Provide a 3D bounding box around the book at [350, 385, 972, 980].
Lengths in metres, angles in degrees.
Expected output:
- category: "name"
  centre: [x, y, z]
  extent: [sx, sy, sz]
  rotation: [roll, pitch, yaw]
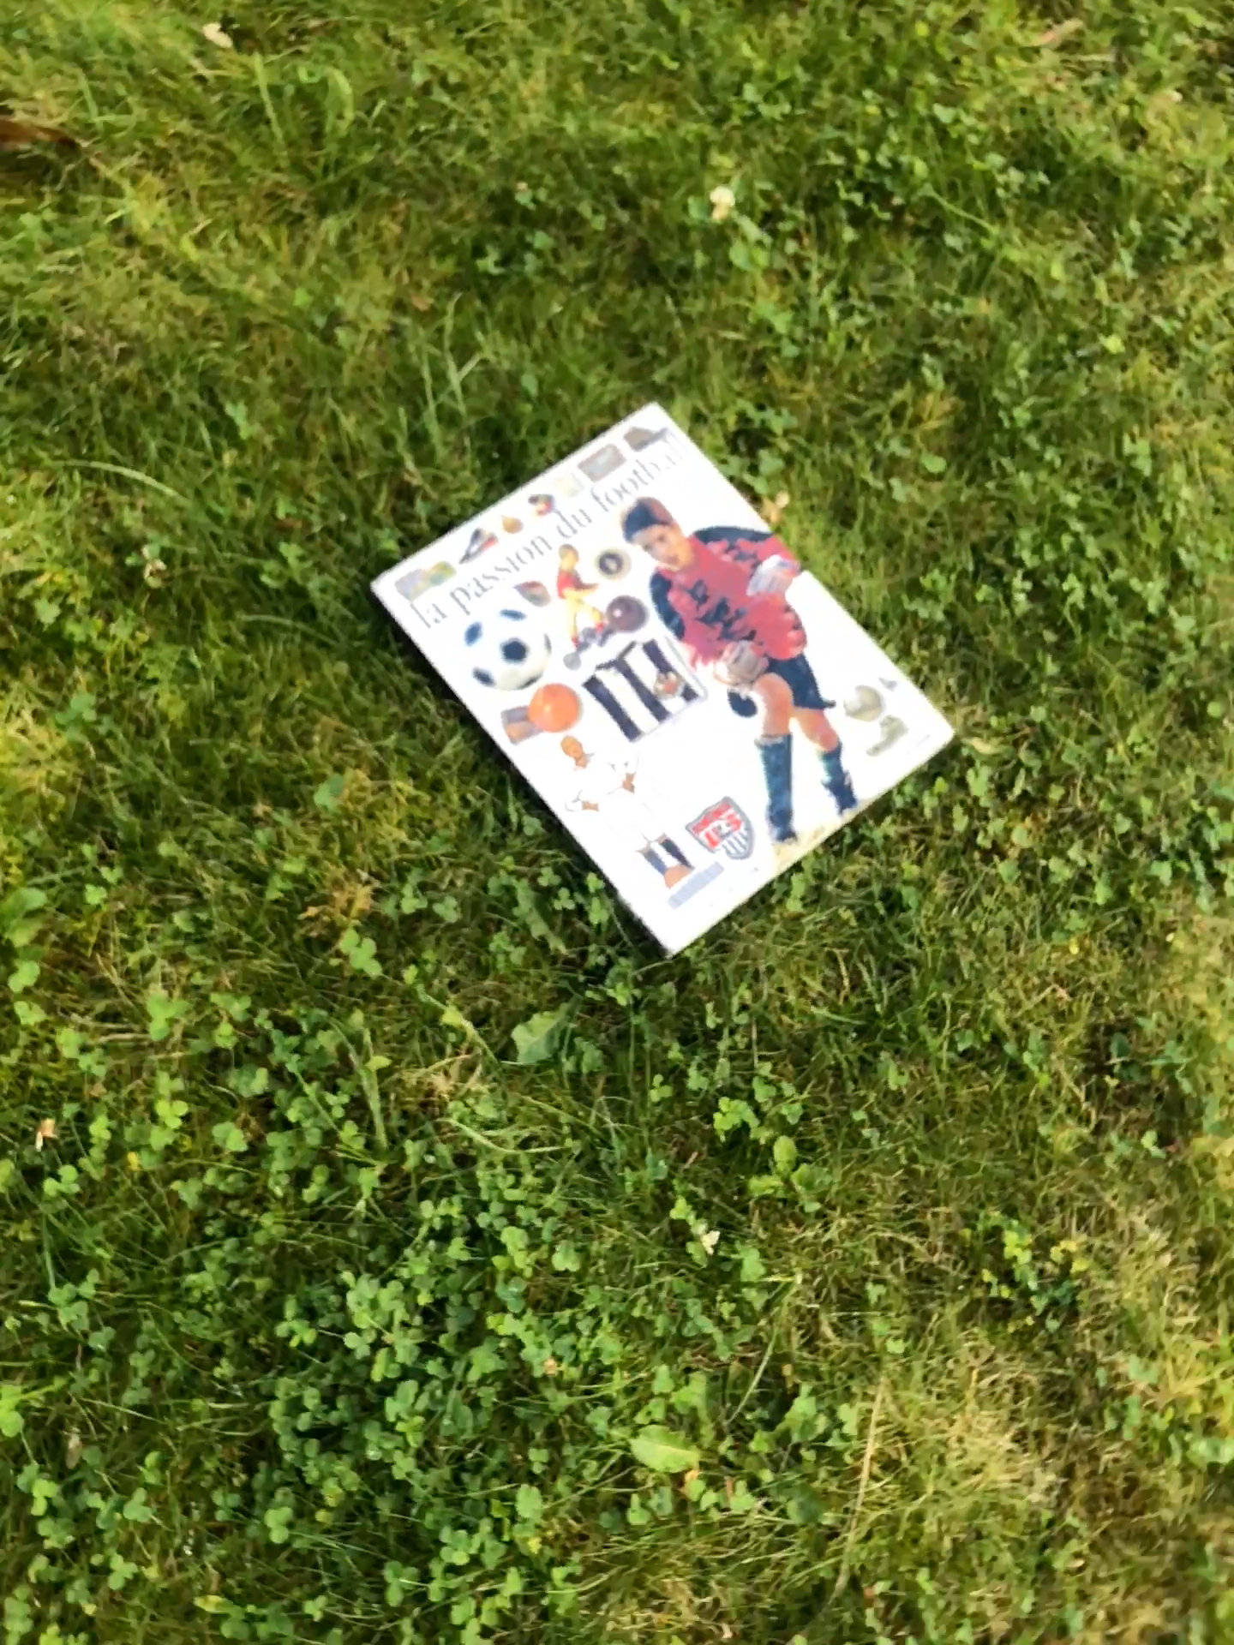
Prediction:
- category: "book"
  centre: [0.025, -0.095, 0.813]
  extent: [0.231, 0.020, 0.300]
  rotation: [-37, 78, -16]
